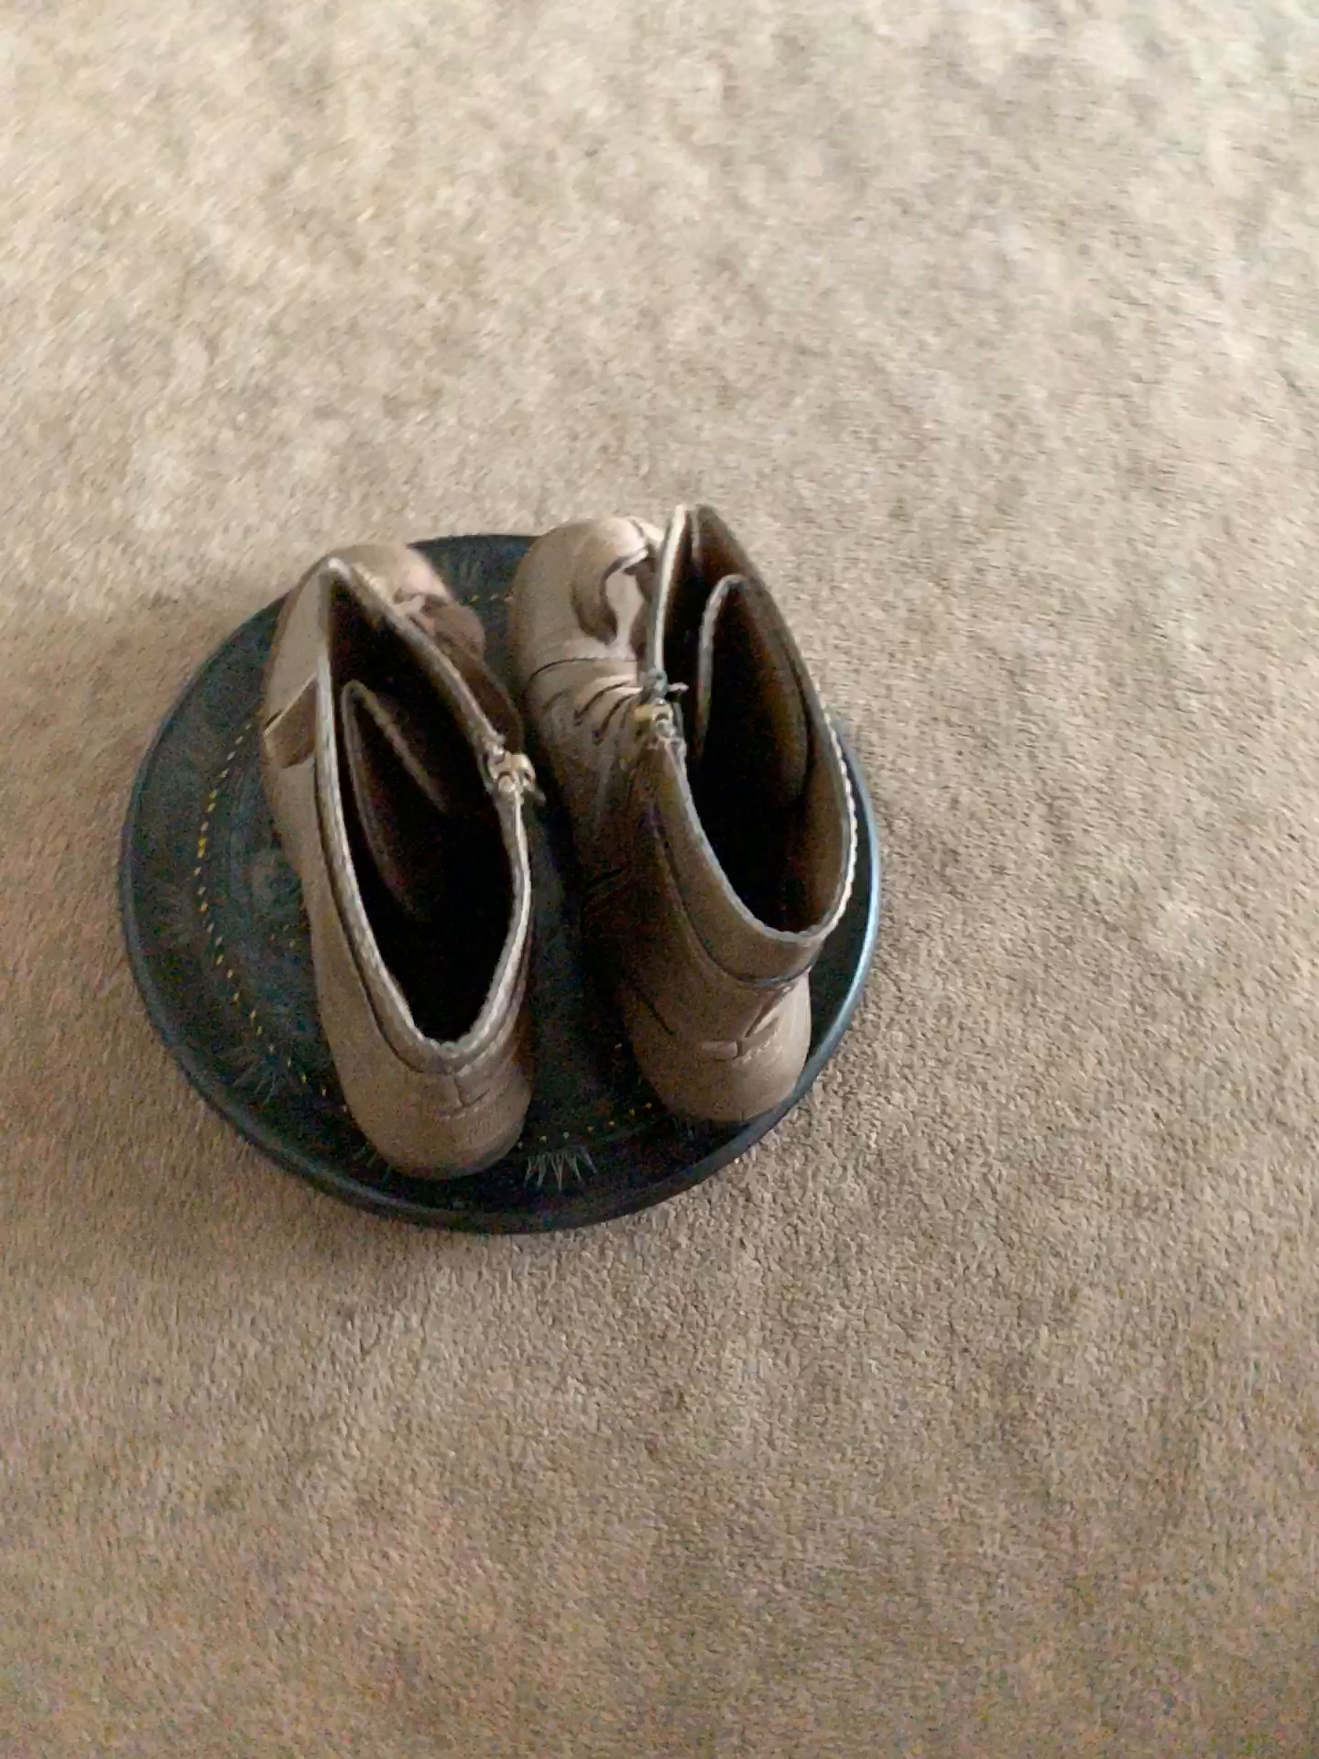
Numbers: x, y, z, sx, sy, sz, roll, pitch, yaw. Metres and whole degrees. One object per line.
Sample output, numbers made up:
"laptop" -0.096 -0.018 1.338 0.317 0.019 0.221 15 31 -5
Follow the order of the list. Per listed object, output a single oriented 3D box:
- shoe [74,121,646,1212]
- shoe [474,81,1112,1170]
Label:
"shoe" -0.088 -0.048 0.421 0.100 0.199 0.261 -10 72 -9
"shoe" 0.016 -0.064 0.436 0.100 0.199 0.271 -10 72 -9
